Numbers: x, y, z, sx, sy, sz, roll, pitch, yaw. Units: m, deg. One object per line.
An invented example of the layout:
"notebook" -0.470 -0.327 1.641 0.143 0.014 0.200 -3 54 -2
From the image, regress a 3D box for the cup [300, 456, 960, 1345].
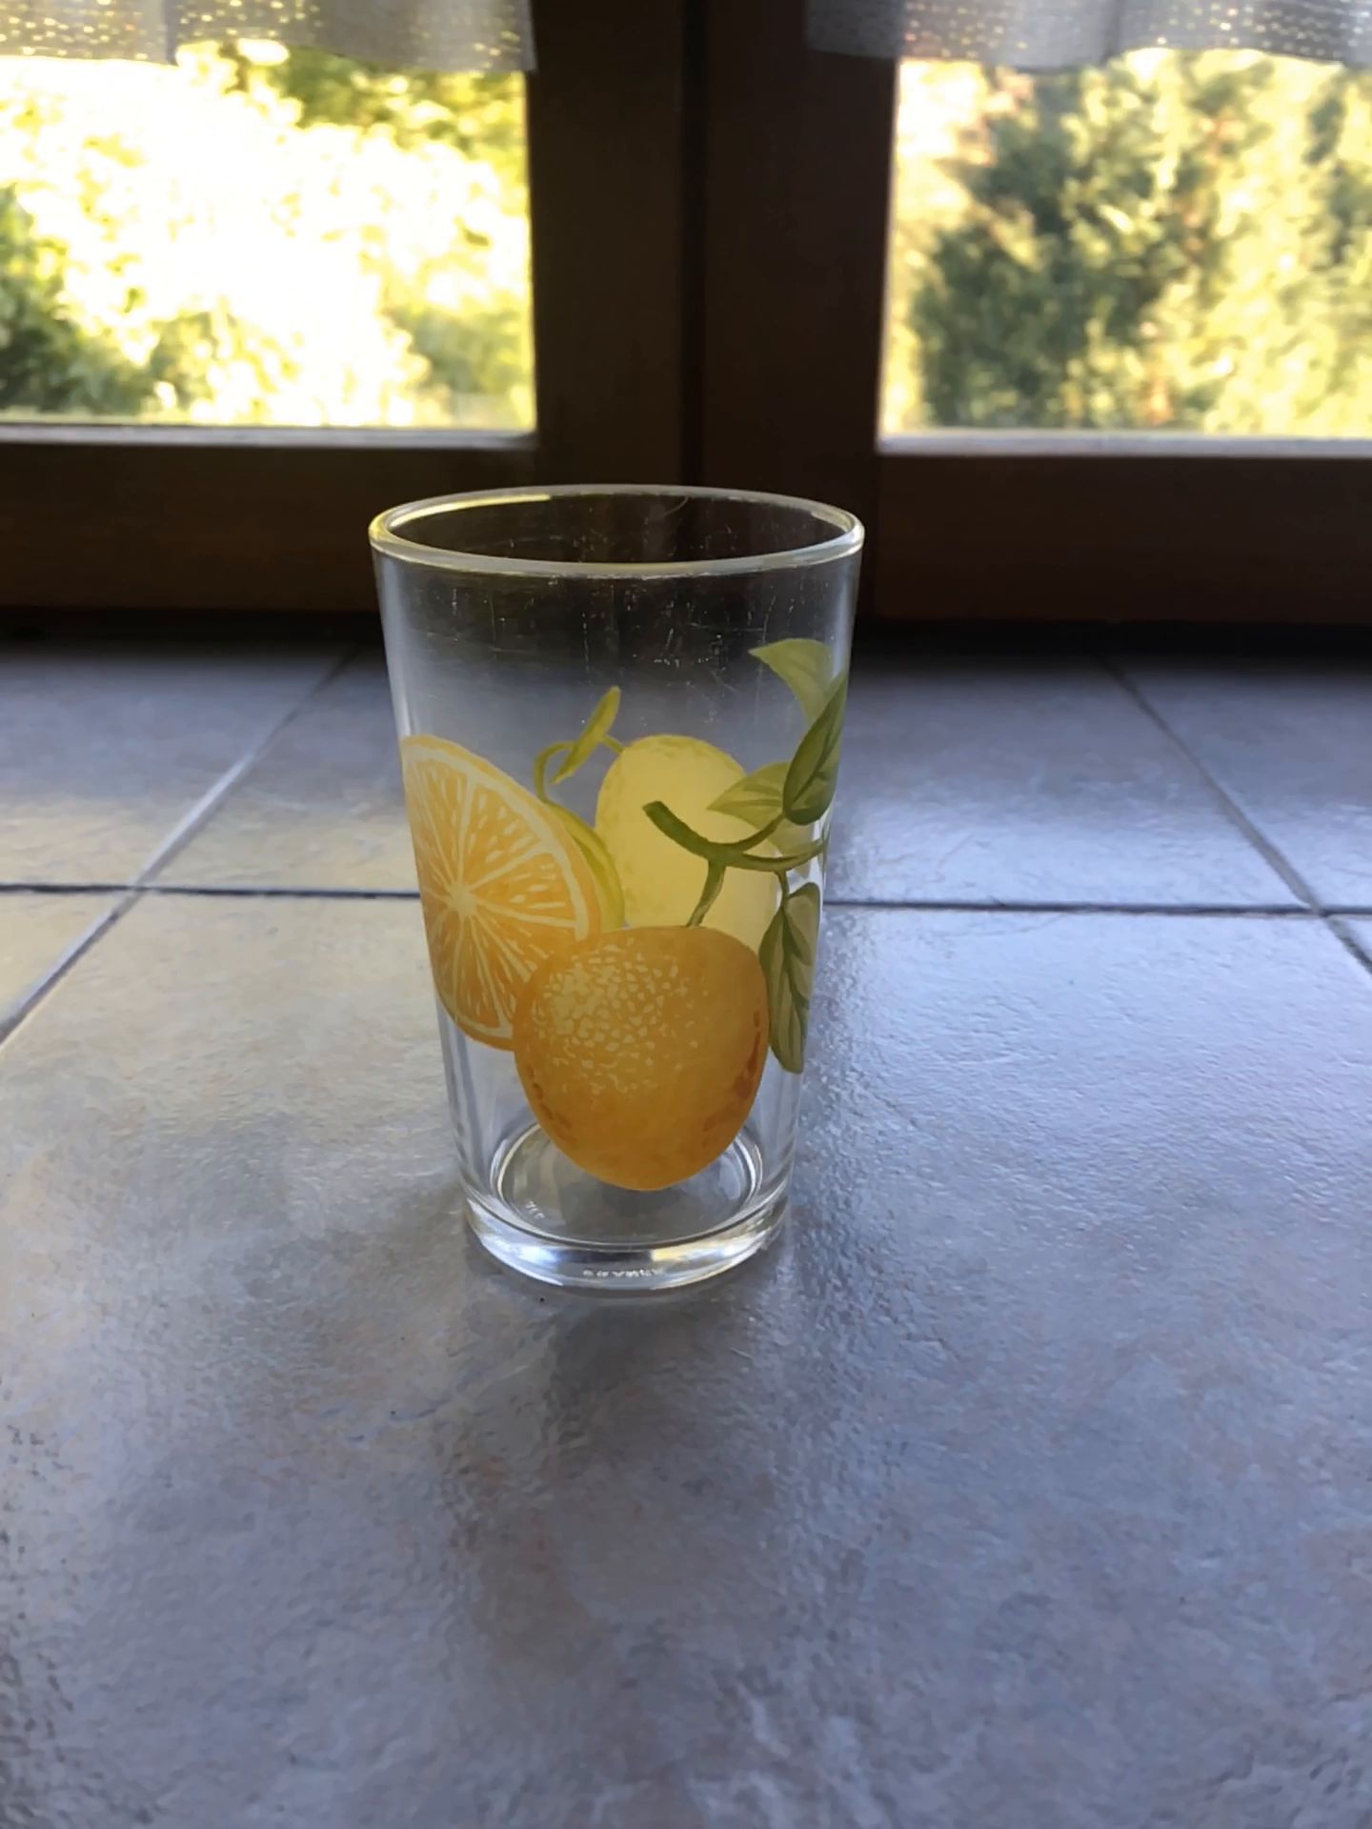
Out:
"cup" -0.010 -0.008 0.245 0.070 0.112 0.069 0 25 0
